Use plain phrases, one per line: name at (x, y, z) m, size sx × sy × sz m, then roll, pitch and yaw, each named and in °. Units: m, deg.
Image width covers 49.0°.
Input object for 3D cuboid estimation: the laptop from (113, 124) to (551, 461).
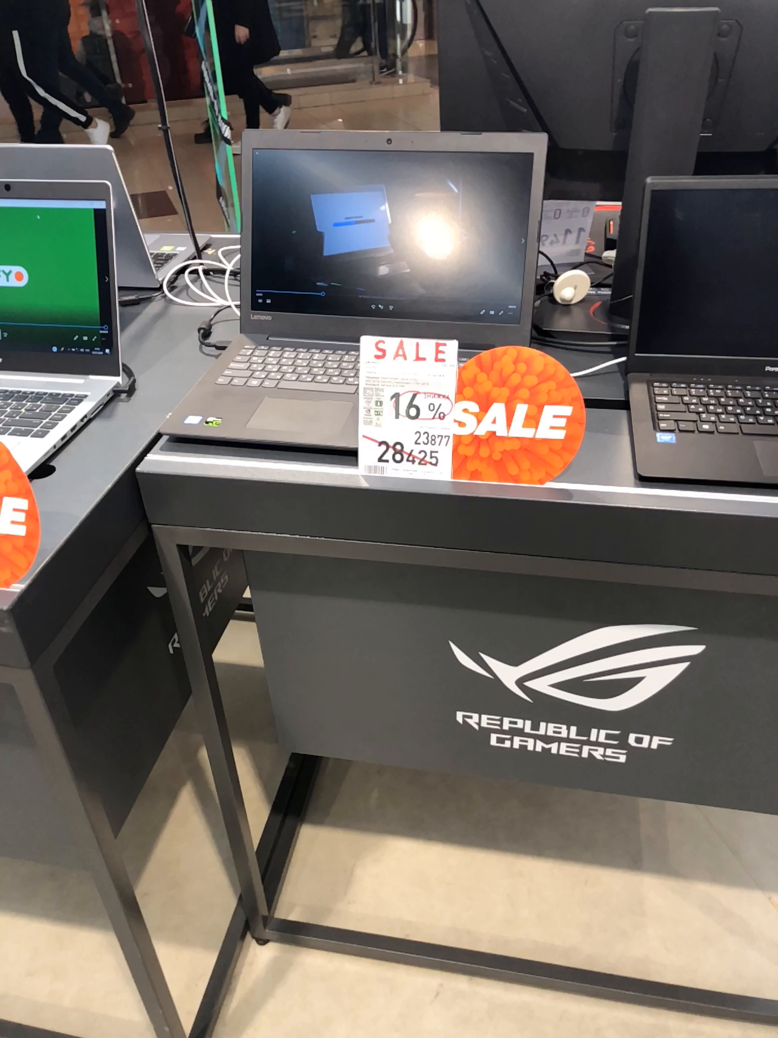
laptop at (-0.032, -0.275, 0.963) m, size 0.382 × 0.235 × 0.336 m, roll 6°, pitch 37°, yaw 12°
